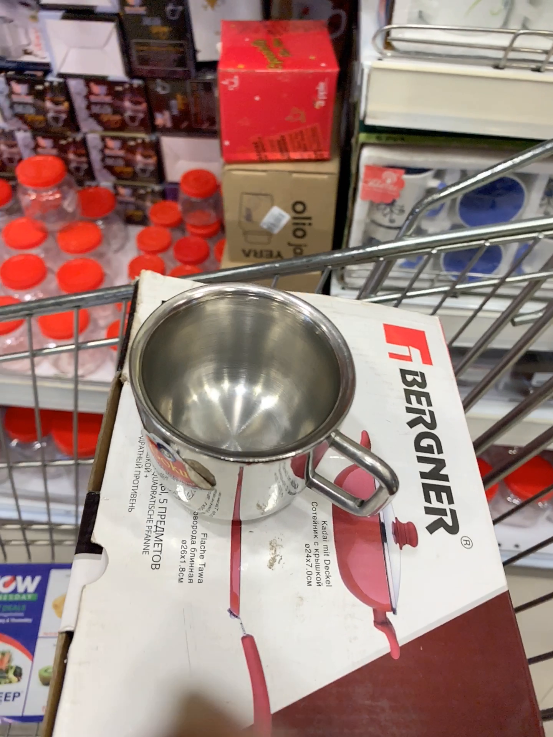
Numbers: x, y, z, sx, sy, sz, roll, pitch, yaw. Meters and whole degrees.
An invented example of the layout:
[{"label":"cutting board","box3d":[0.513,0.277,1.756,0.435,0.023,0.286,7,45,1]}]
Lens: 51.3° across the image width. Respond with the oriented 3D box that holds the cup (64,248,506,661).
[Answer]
[{"label":"cup","box3d":[0.001,0.020,0.160,0.090,0.050,0.060,31,57,21]}]
